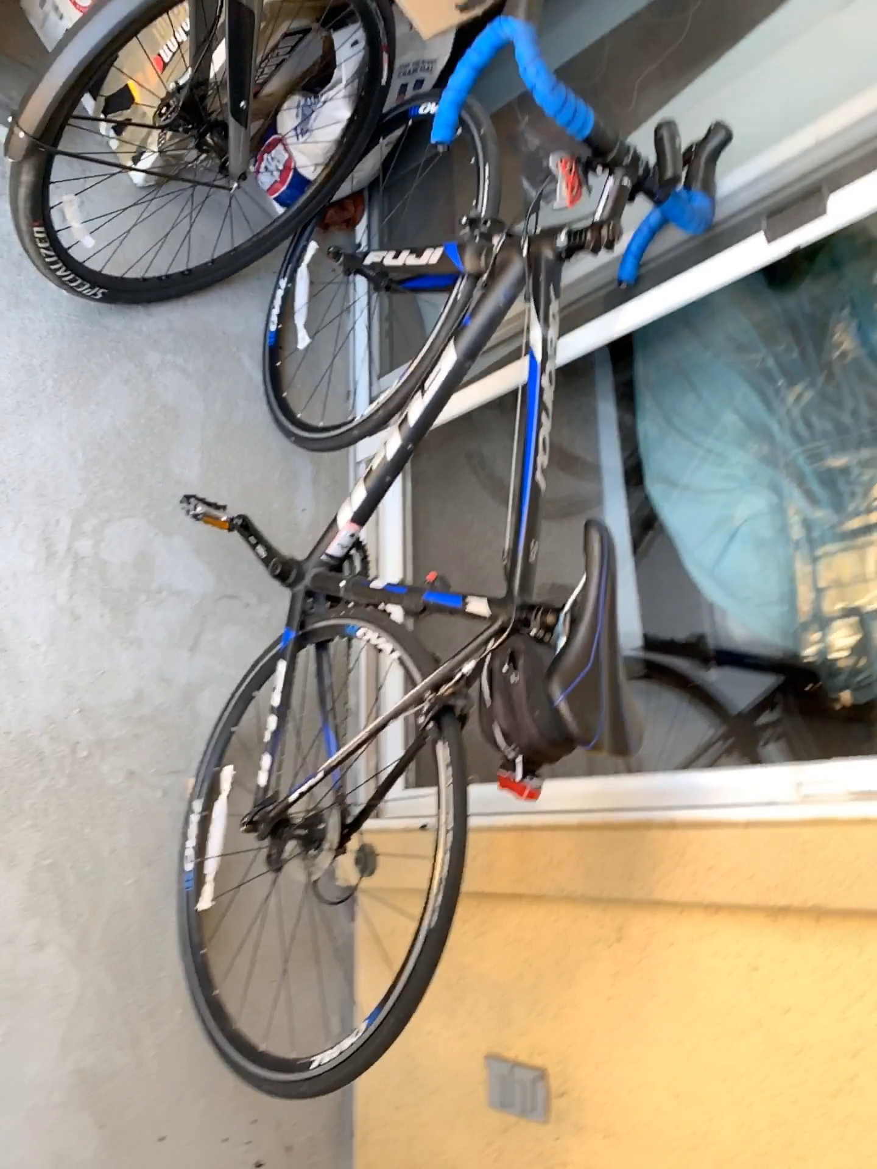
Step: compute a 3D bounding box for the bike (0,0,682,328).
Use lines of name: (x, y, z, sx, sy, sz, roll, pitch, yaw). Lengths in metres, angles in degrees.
bike: (-0.614, -0.924, 0.946, 1.589, 0.972, 0.622, 1, 77, -44)

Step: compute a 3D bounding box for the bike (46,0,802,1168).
bike: (-0.032, -0.105, 1.265, 0.364, 0.933, 1.502, 19, 70, -39)
